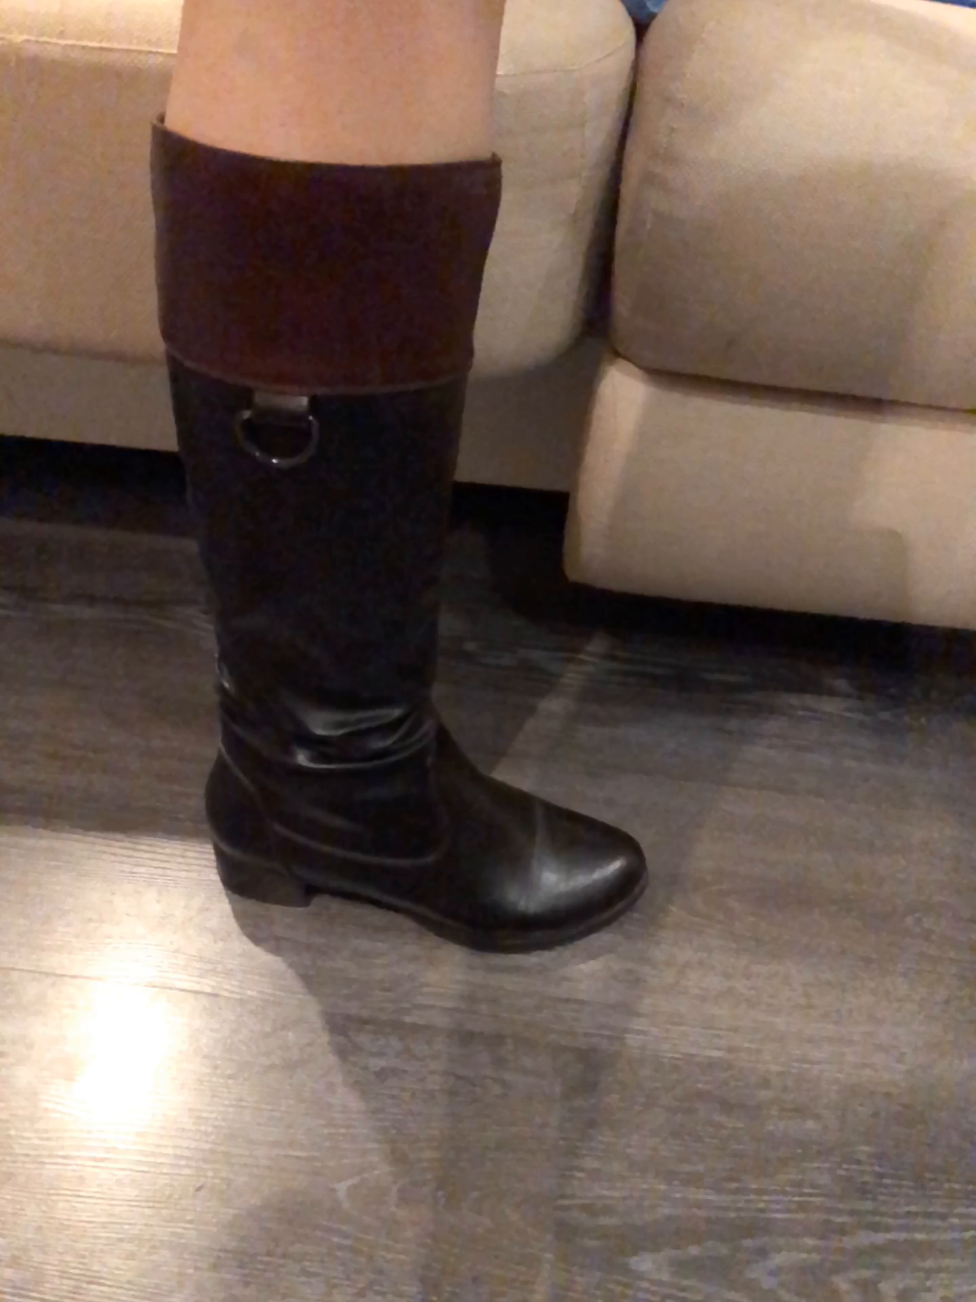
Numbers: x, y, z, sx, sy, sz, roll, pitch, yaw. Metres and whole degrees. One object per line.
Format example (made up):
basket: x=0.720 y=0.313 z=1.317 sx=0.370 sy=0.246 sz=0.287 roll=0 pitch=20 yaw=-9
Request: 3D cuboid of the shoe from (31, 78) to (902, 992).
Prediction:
shoe: x=-0.018 y=-0.015 z=0.509 sx=0.270 sy=0.417 sz=0.111 roll=6 pitch=41 yaw=0
